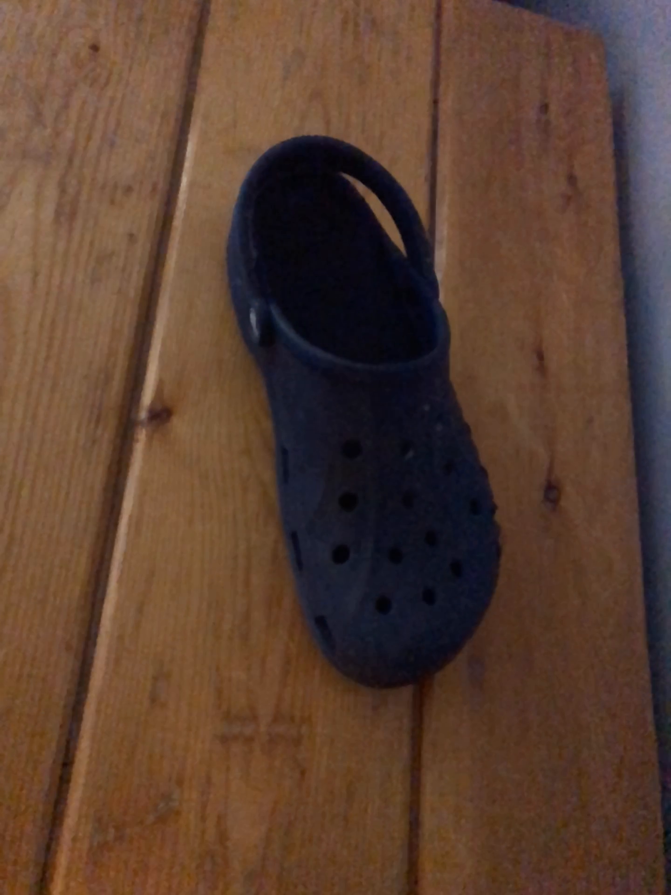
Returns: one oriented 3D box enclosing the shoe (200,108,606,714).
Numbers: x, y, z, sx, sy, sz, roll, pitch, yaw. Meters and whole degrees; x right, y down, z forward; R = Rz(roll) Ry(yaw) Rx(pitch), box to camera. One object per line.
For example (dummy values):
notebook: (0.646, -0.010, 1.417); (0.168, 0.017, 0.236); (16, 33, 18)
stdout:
shoe: (0.020, -0.026, 0.387); (0.130, 0.080, 0.290); (-6, 72, -19)
